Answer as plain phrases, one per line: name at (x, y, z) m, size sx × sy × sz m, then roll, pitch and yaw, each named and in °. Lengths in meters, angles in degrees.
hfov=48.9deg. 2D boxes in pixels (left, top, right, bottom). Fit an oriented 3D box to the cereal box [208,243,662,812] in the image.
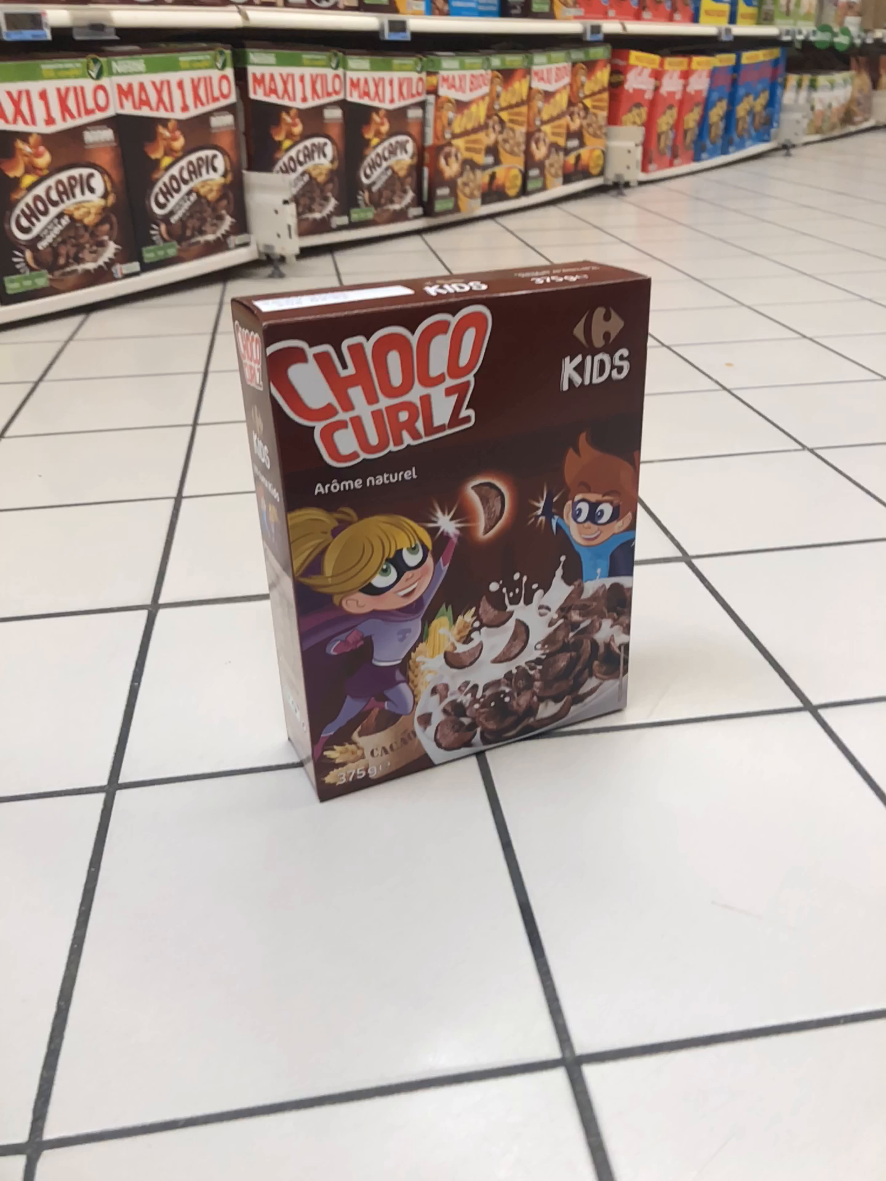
cereal box at (0.000, -0.034, 0.513) m, size 0.201 × 0.258 × 0.070 m, roll -13°, pitch 30°, yaw -21°
